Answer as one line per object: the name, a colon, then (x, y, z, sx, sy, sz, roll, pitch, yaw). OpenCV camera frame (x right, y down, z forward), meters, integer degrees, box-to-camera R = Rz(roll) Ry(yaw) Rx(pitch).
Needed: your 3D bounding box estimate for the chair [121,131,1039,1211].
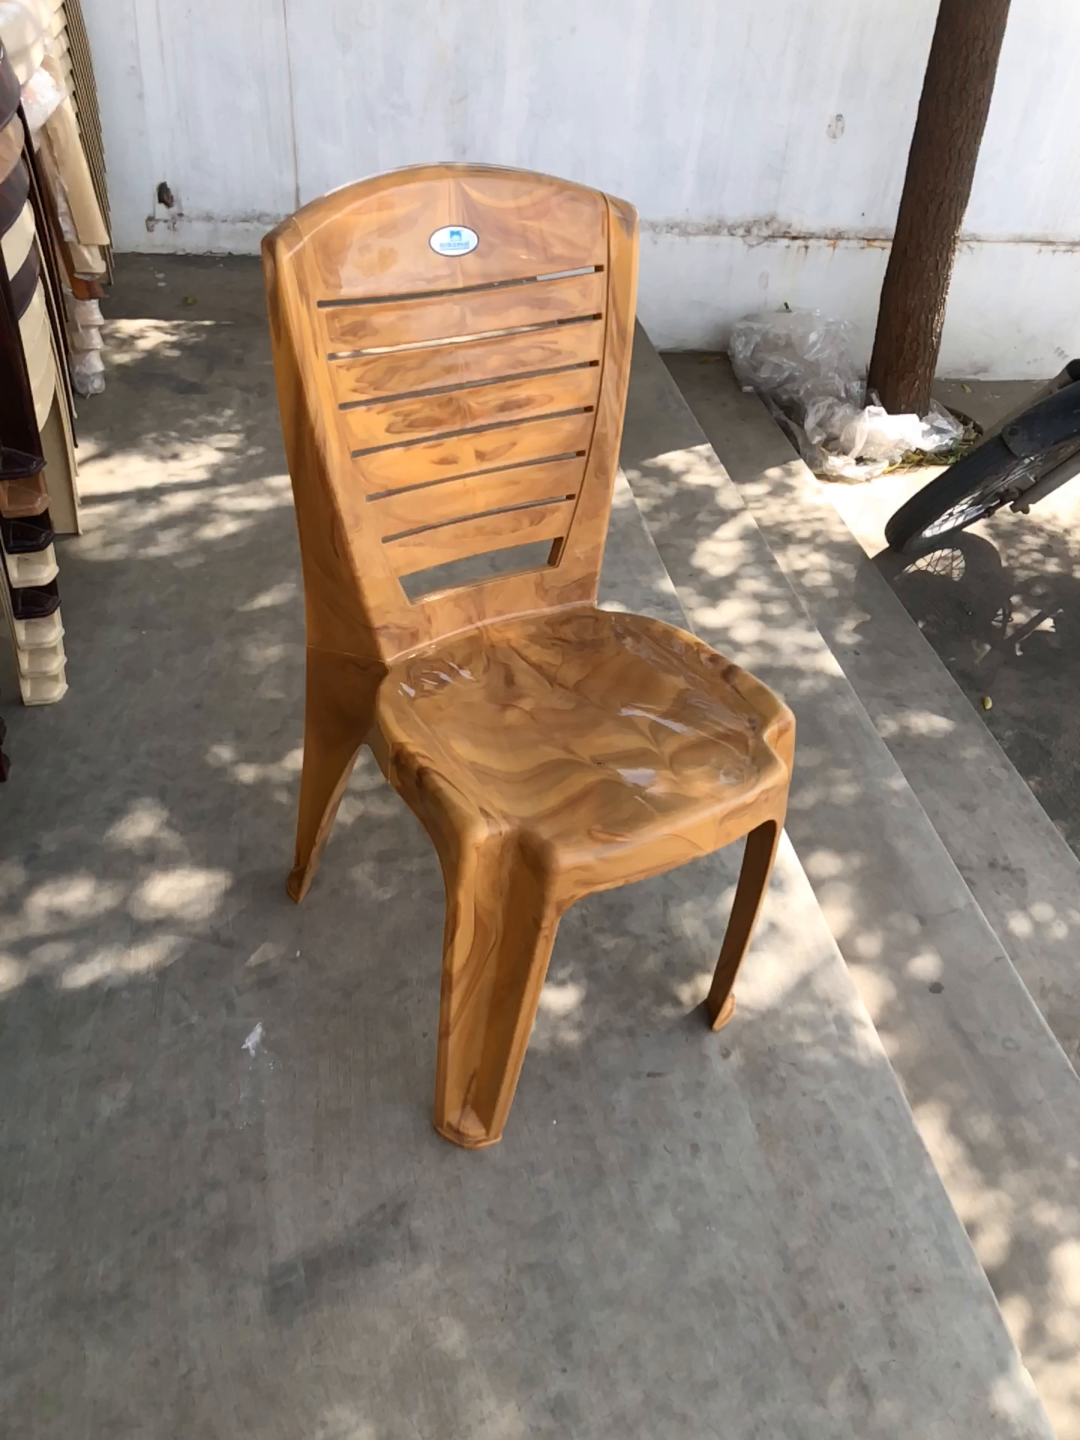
chair: (-0.020, -0.062, 1.199, 0.502, 0.815, 0.561, -20, 46, -28)
